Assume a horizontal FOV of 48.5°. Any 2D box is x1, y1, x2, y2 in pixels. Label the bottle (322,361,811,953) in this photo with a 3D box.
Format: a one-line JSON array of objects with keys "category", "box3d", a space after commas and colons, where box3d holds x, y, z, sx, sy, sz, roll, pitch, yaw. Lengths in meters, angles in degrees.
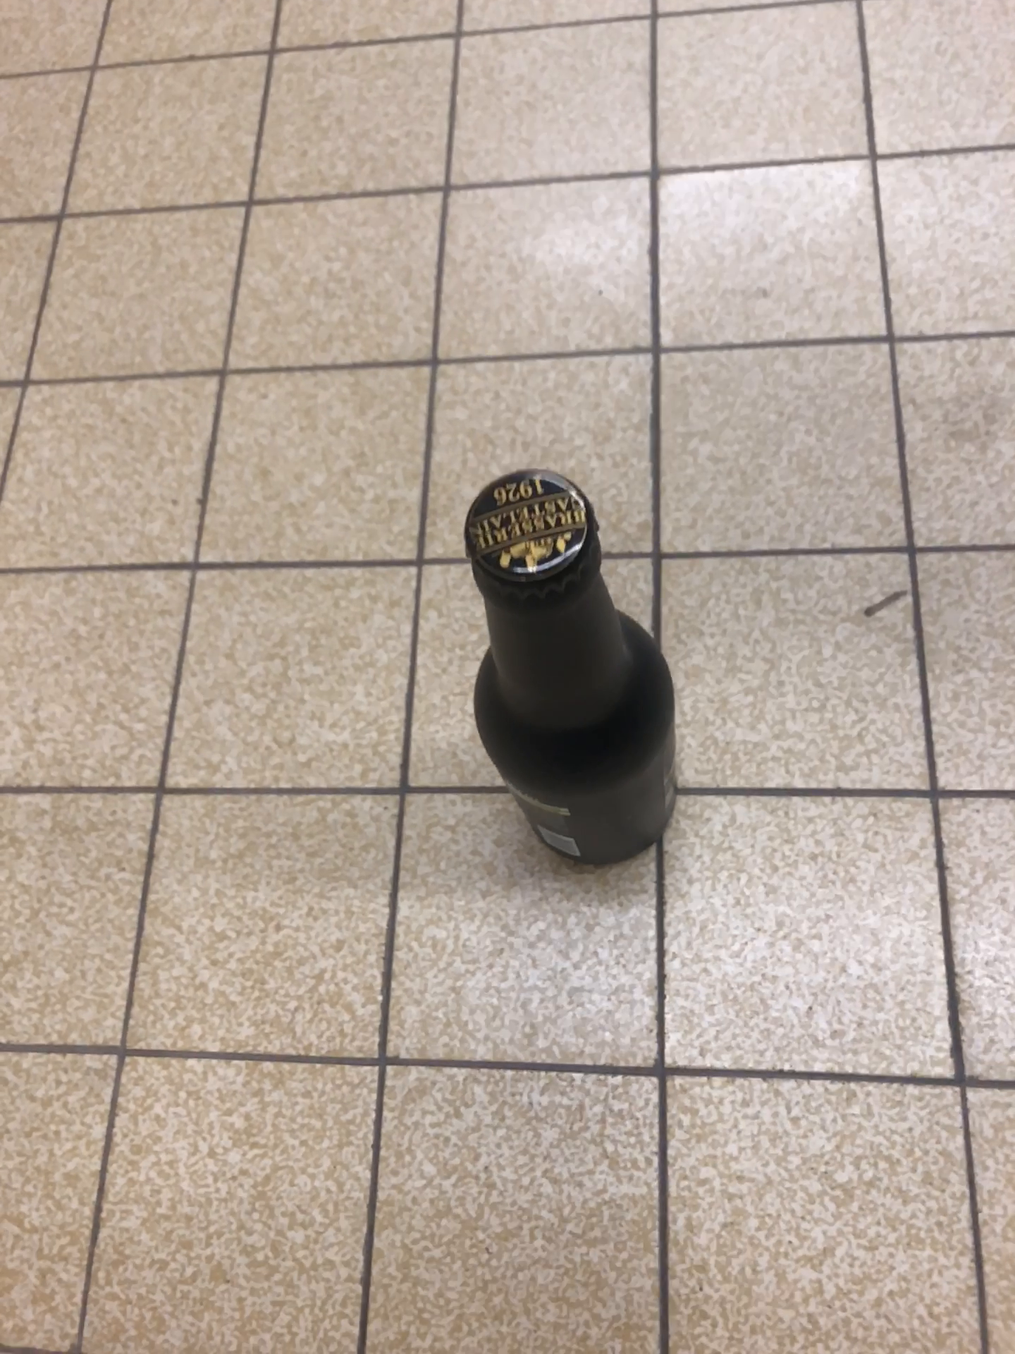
[{"category": "bottle", "box3d": [0.025, 0.017, 0.323, 0.070, 0.219, 0.070, -3, 70, 8]}]
